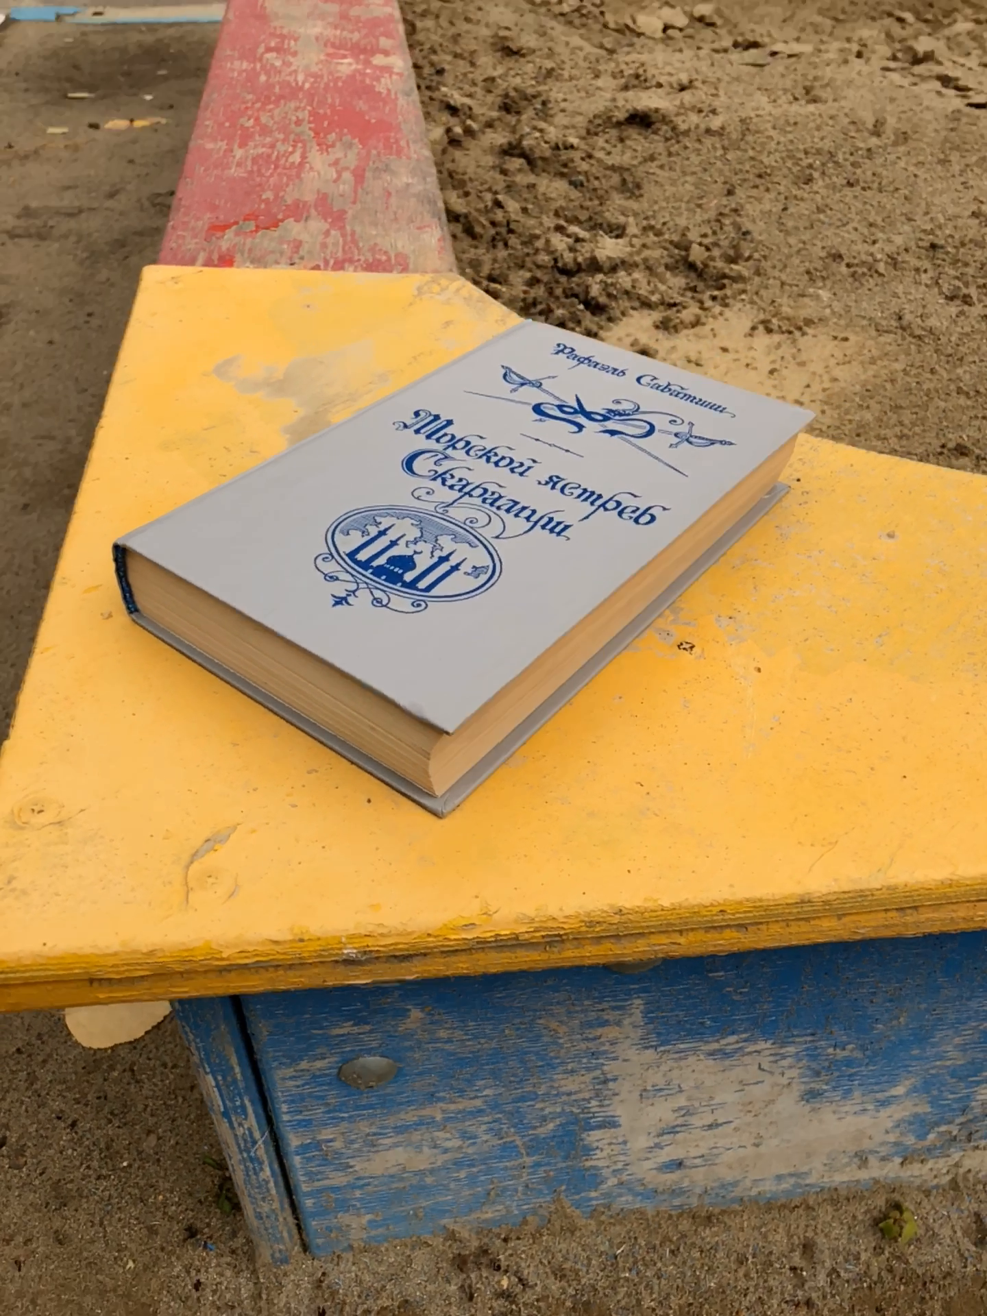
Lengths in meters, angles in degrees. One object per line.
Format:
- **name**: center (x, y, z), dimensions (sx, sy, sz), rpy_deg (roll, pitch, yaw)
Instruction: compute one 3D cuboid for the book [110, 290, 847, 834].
- **book**: center (0.006, -0.052, 0.363), dimensions (0.135, 0.037, 0.211), rpy_deg (28, 48, 26)
